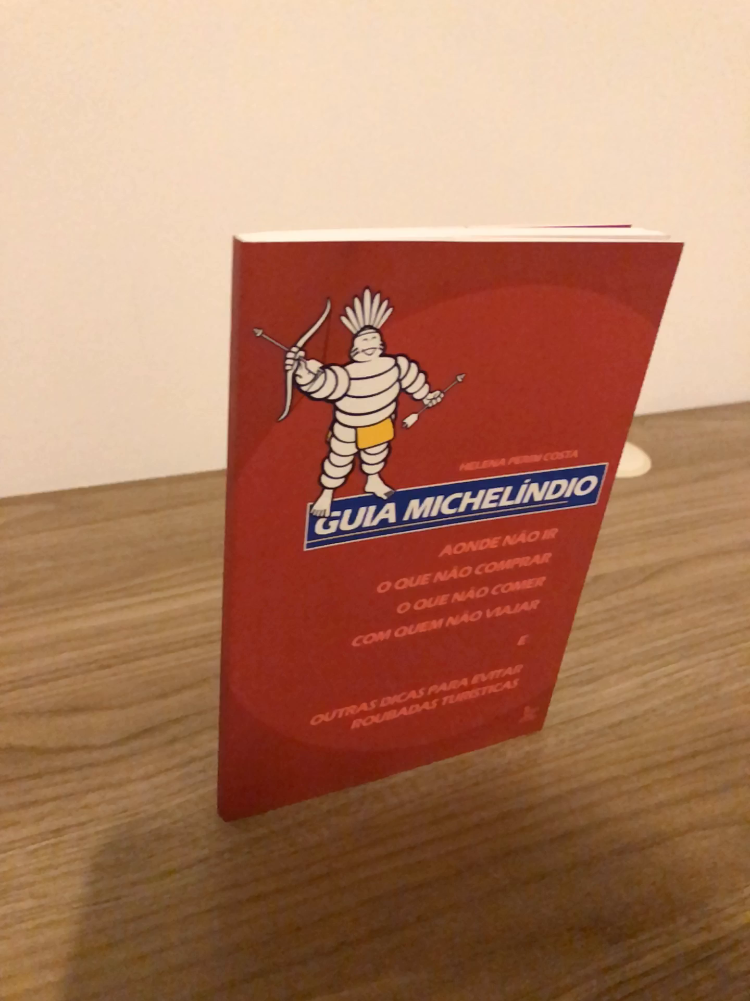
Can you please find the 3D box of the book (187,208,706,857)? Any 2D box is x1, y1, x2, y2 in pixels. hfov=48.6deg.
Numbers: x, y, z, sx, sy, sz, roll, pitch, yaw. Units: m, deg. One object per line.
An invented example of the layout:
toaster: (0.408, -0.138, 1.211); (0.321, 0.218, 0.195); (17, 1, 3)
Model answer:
book: (0.014, 0.018, 0.278); (0.150, 0.218, 0.020); (-9, 35, -25)
